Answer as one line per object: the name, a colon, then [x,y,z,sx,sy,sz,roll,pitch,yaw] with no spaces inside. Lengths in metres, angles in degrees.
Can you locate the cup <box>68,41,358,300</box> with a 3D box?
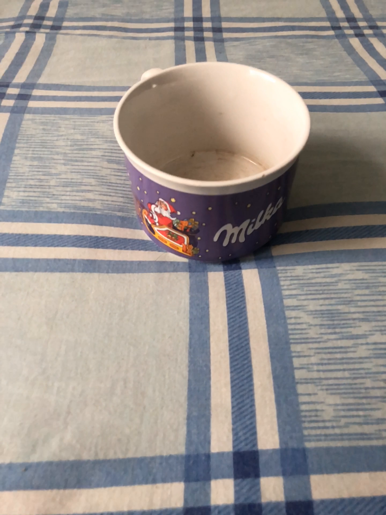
cup: [0.004,-0.061,0.254,0.104,0.063,0.130,-23,54,-19]
